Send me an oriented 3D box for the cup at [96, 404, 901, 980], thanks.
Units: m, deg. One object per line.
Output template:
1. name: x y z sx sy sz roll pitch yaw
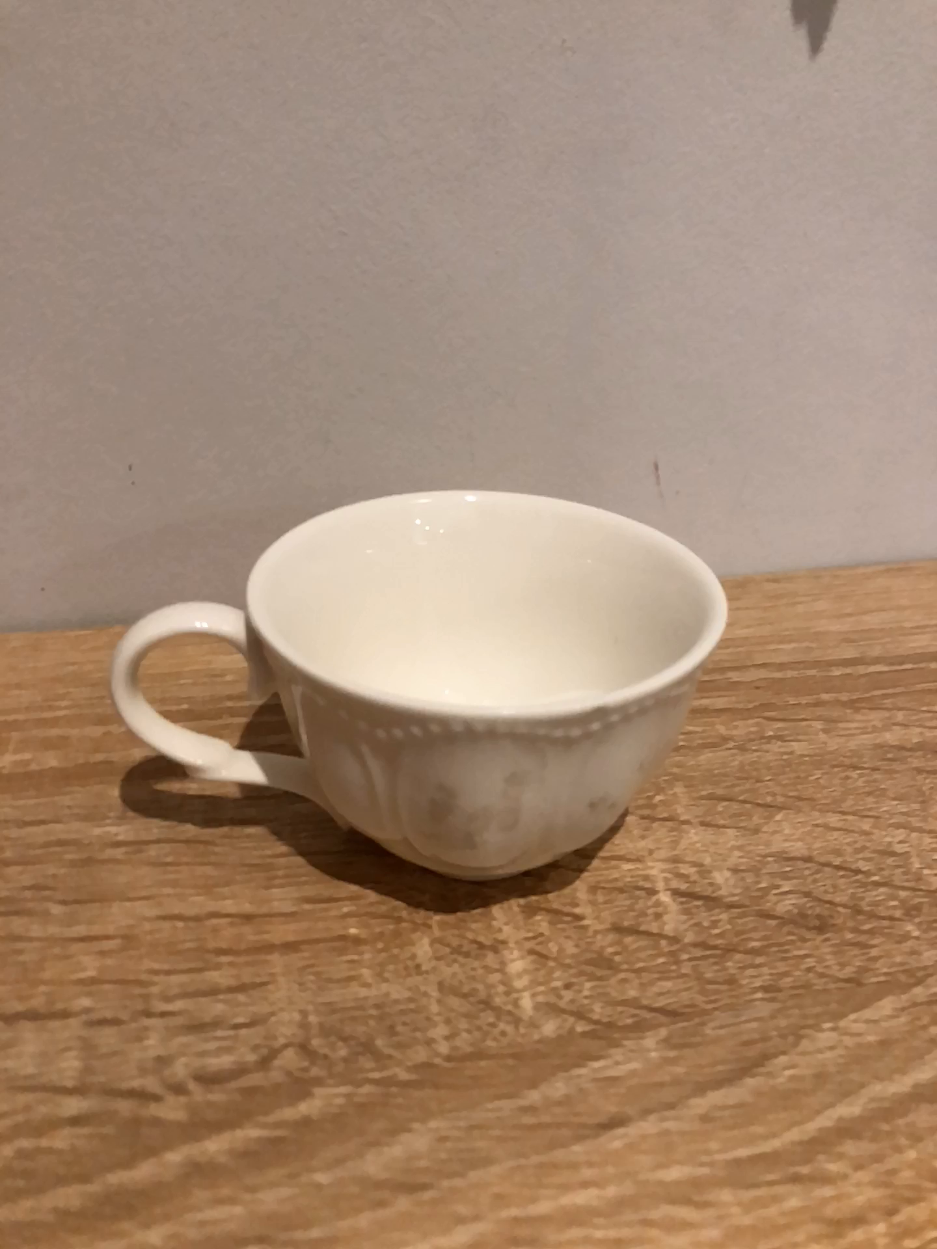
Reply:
1. cup: 0.000 0.003 0.160 0.100 0.050 0.060 -8 31 -15
